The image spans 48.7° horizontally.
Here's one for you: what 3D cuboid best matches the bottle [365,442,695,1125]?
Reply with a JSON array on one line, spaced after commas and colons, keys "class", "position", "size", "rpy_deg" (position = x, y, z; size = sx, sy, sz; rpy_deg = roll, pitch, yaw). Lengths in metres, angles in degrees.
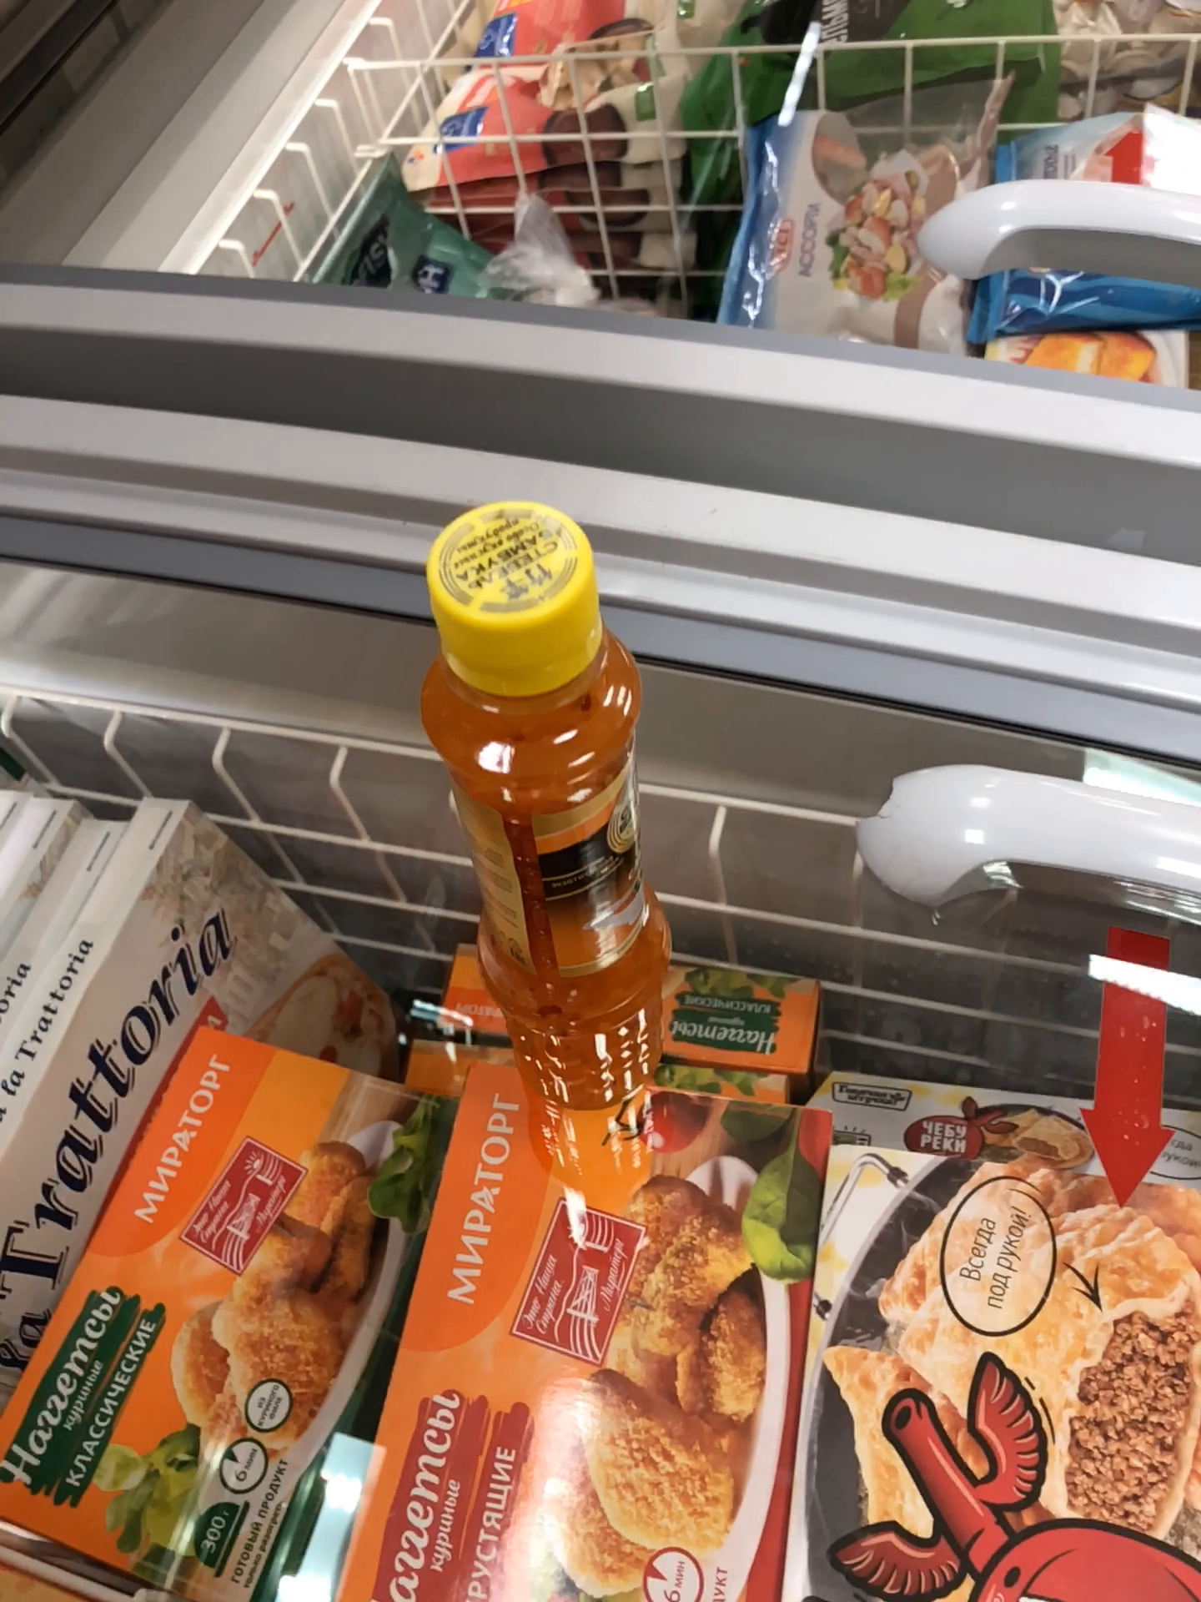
[{"class": "bottle", "position": [-0.008, 0.014, 0.313], "size": [0.049, 0.201, 0.051], "rpy_deg": [-2, 57, 3]}]
